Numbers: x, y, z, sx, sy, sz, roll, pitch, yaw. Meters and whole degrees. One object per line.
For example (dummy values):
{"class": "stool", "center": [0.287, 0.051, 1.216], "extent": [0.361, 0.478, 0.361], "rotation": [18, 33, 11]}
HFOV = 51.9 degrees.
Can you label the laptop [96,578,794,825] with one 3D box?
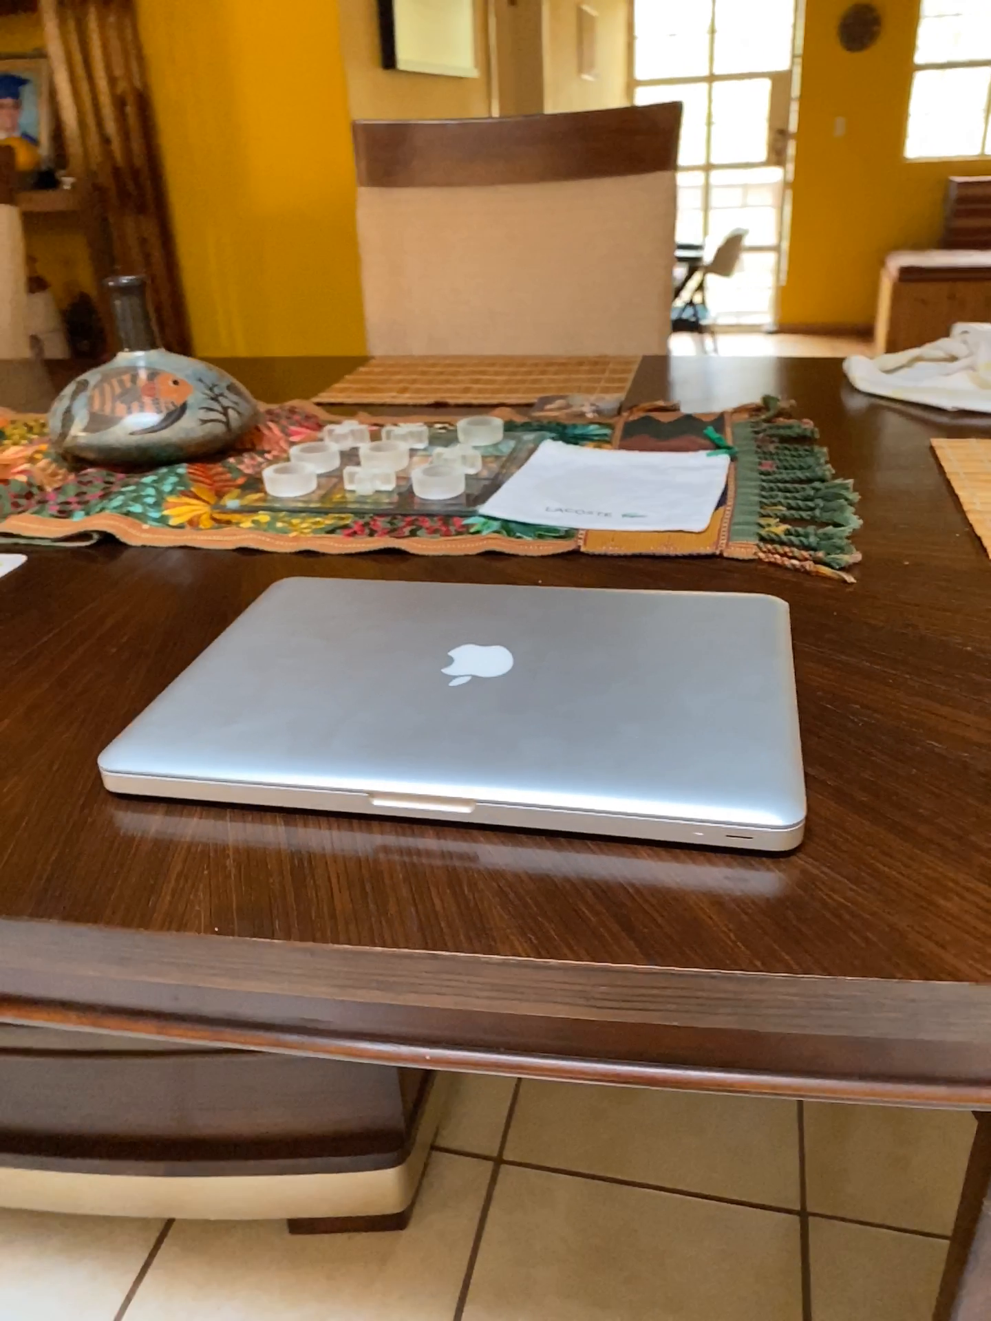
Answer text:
{"class": "laptop", "center": [-0.010, 0.006, 0.558], "extent": [0.324, 0.002, 0.233], "rotation": [3, 28, 12]}
